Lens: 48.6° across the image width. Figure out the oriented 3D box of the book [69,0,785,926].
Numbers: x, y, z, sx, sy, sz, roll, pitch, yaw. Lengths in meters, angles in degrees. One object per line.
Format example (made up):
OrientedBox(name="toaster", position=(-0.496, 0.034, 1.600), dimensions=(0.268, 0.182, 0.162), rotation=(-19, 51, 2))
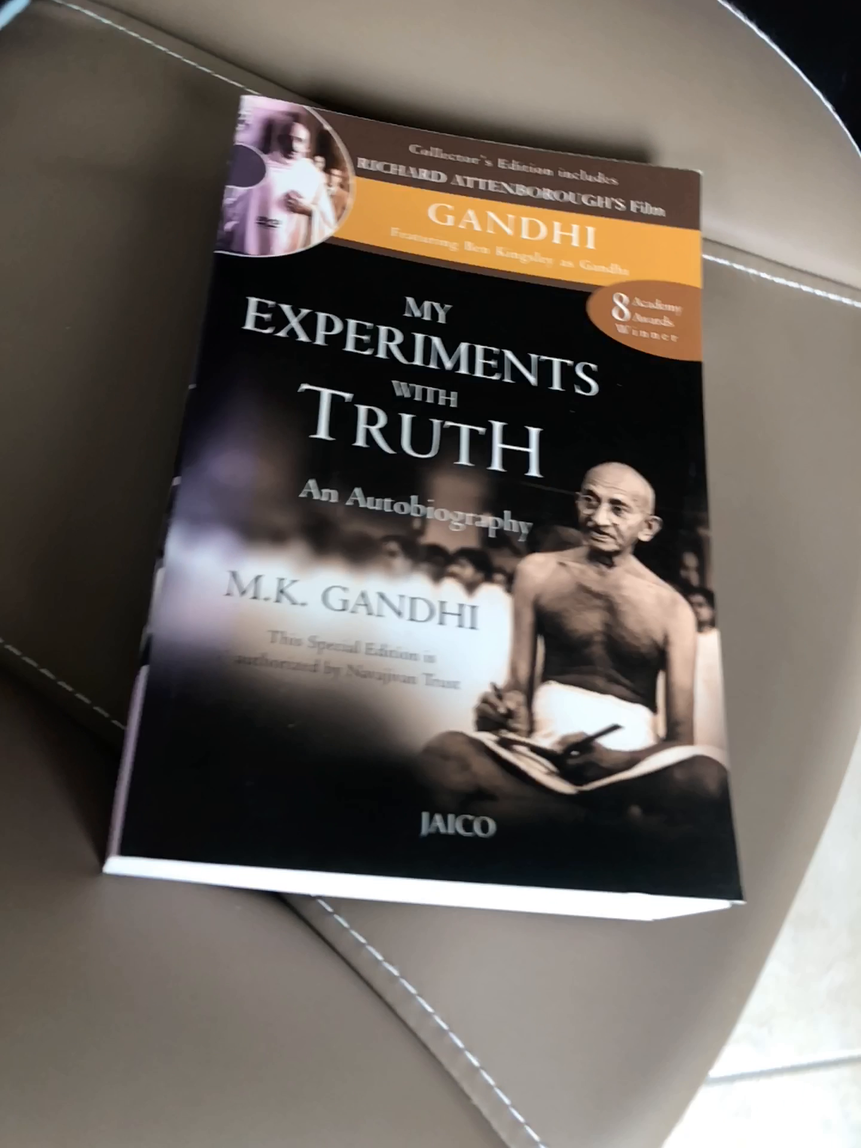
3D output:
OrientedBox(name="book", position=(0.005, -0.036, 0.264), dimensions=(0.150, 0.050, 0.240), rotation=(9, 65, -13))
